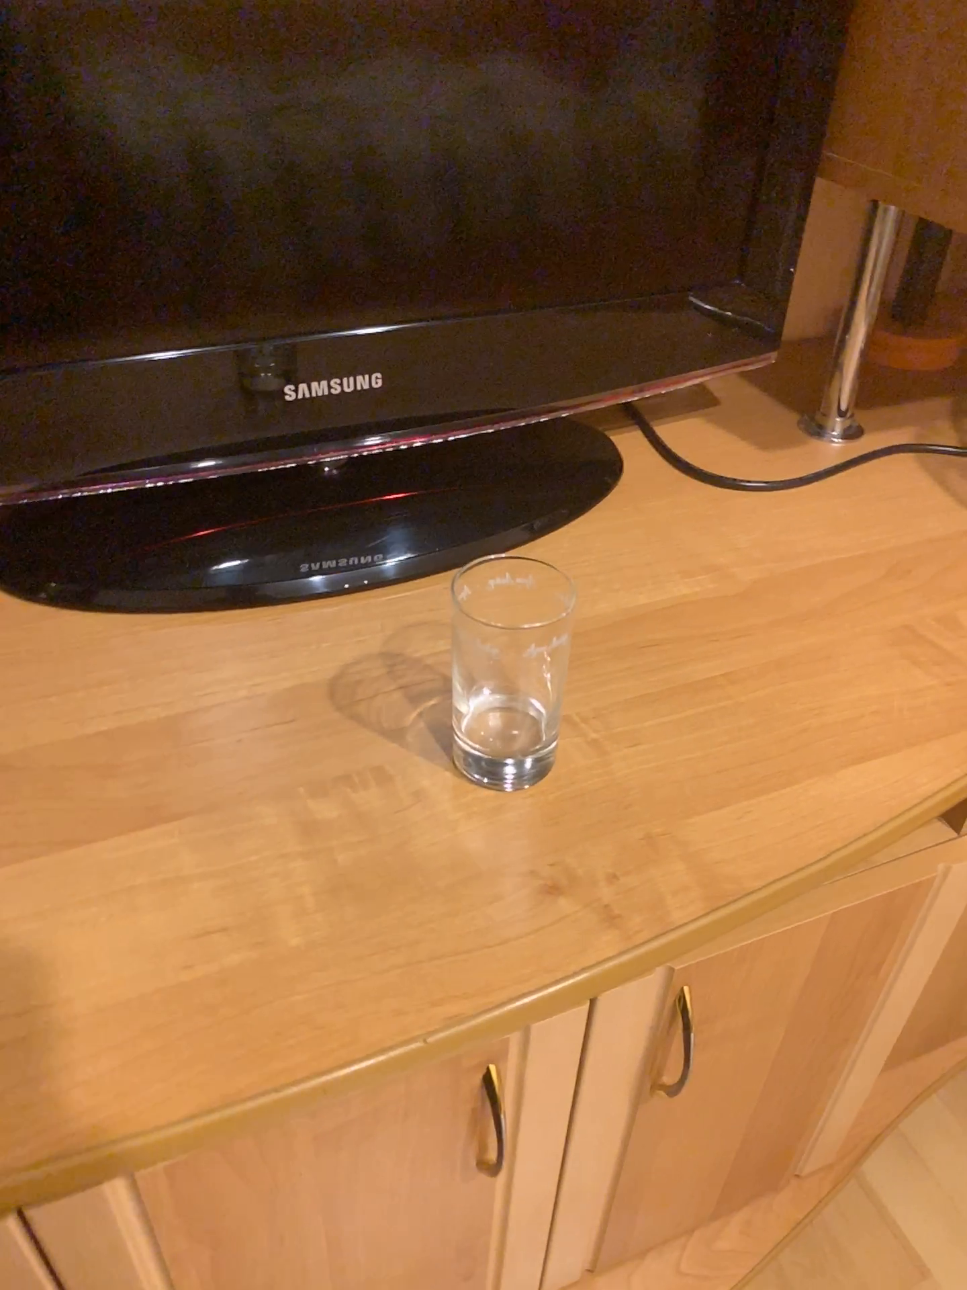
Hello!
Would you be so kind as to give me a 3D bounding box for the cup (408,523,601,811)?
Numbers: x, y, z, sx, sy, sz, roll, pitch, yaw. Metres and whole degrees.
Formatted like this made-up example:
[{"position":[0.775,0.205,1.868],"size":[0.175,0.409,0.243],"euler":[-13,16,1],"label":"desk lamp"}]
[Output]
[{"position":[0.009,0.010,0.444],"size":[0.060,0.099,0.060],"euler":[1,37,-1],"label":"cup"}]
